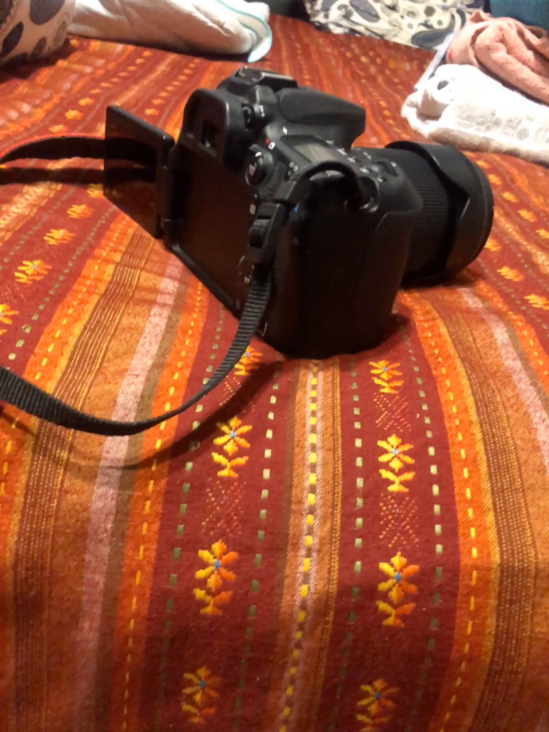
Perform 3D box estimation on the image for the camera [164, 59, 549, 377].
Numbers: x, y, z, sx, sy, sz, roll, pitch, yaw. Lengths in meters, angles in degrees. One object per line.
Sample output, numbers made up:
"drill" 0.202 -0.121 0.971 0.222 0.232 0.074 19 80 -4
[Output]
"camera" 0.050 -0.090 0.325 0.171 0.099 0.131 -15 42 -33
